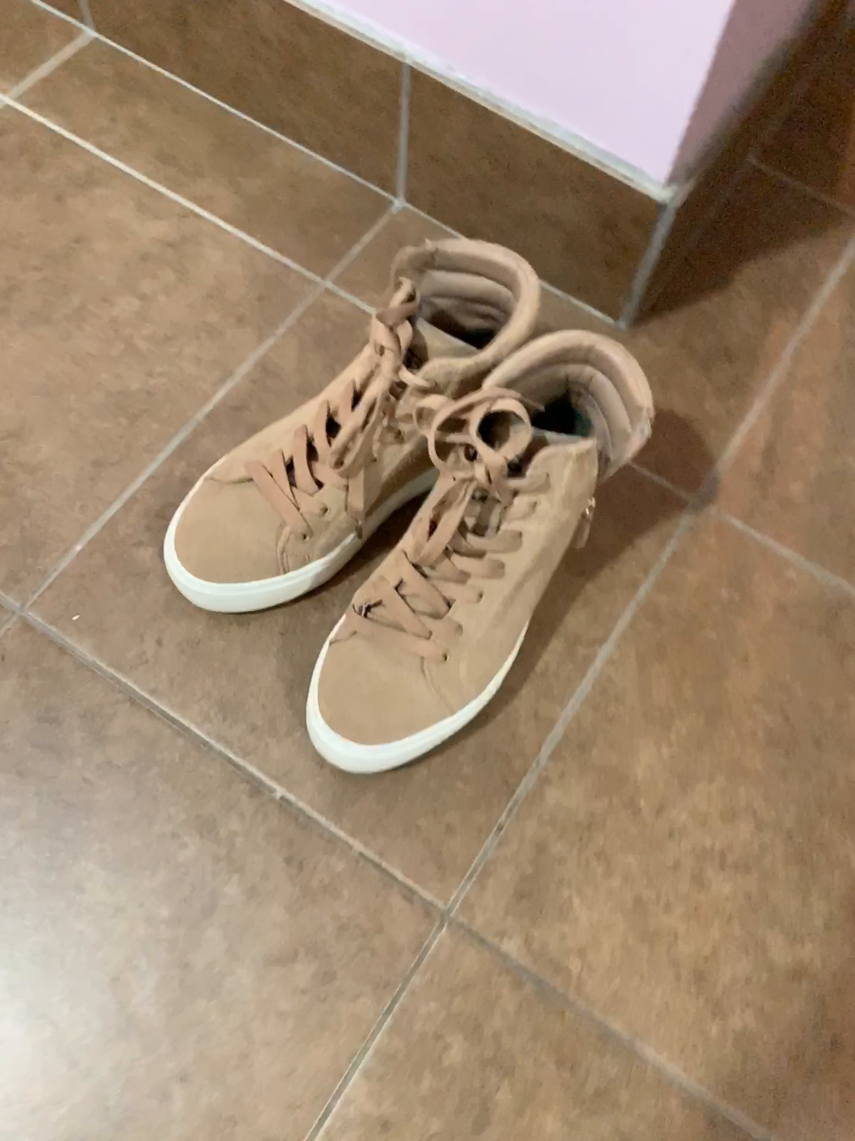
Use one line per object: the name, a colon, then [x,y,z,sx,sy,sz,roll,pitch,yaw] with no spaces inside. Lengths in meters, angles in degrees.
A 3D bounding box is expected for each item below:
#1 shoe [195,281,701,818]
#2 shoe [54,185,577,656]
shoe: [0.017,-0.013,0.494,0.113,0.120,0.270,37,69,12]
shoe: [-0.053,-0.085,0.501,0.254,0.117,0.105,-38,74,-17]
